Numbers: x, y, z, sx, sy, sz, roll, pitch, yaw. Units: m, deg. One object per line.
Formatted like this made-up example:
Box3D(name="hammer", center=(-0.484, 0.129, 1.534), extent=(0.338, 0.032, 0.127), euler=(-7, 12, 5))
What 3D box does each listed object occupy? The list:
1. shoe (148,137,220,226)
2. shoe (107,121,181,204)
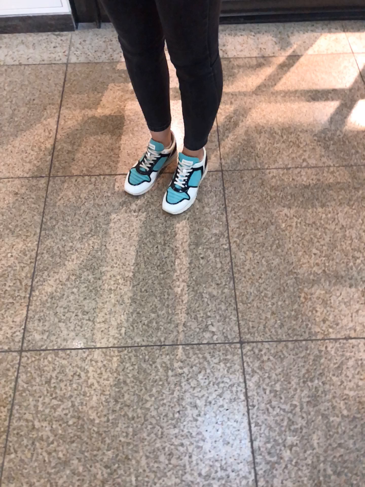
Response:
Box3D(name="shoe", center=(0.009, -0.198, 1.255), extent=(0.110, 0.100, 0.250), euler=(25, 64, 15))
Box3D(name="shoe", center=(-0.117, -0.262, 1.281), extent=(0.107, 0.100, 0.240), euler=(29, 65, 17))
